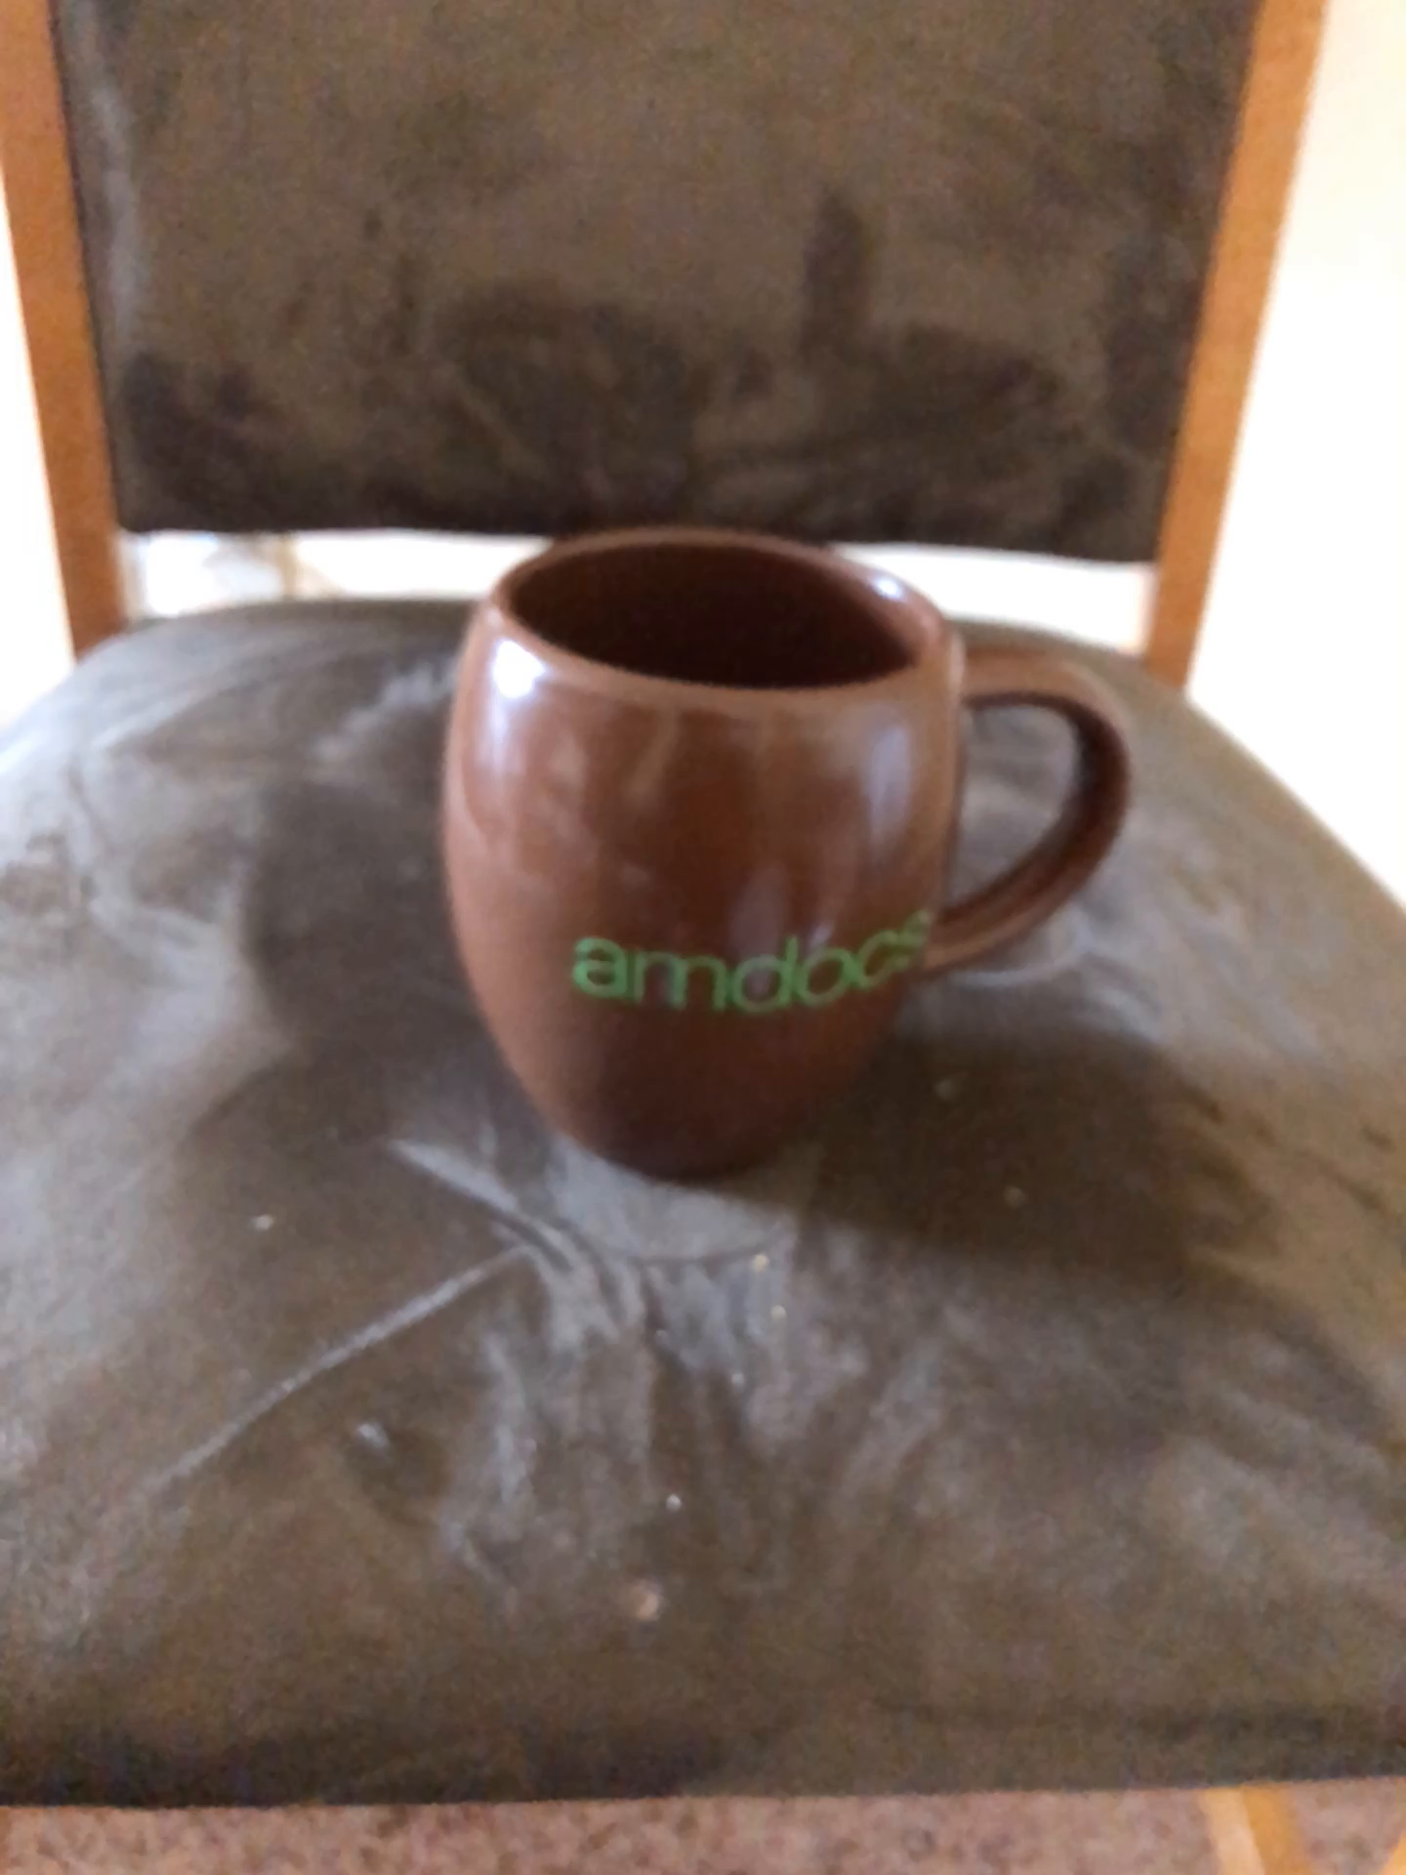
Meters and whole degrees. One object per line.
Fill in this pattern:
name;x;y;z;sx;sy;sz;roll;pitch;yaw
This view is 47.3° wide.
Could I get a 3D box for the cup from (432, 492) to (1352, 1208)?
cup;0.024;-0.017;0.313;0.140;0.100;0.090;1;33;-14
